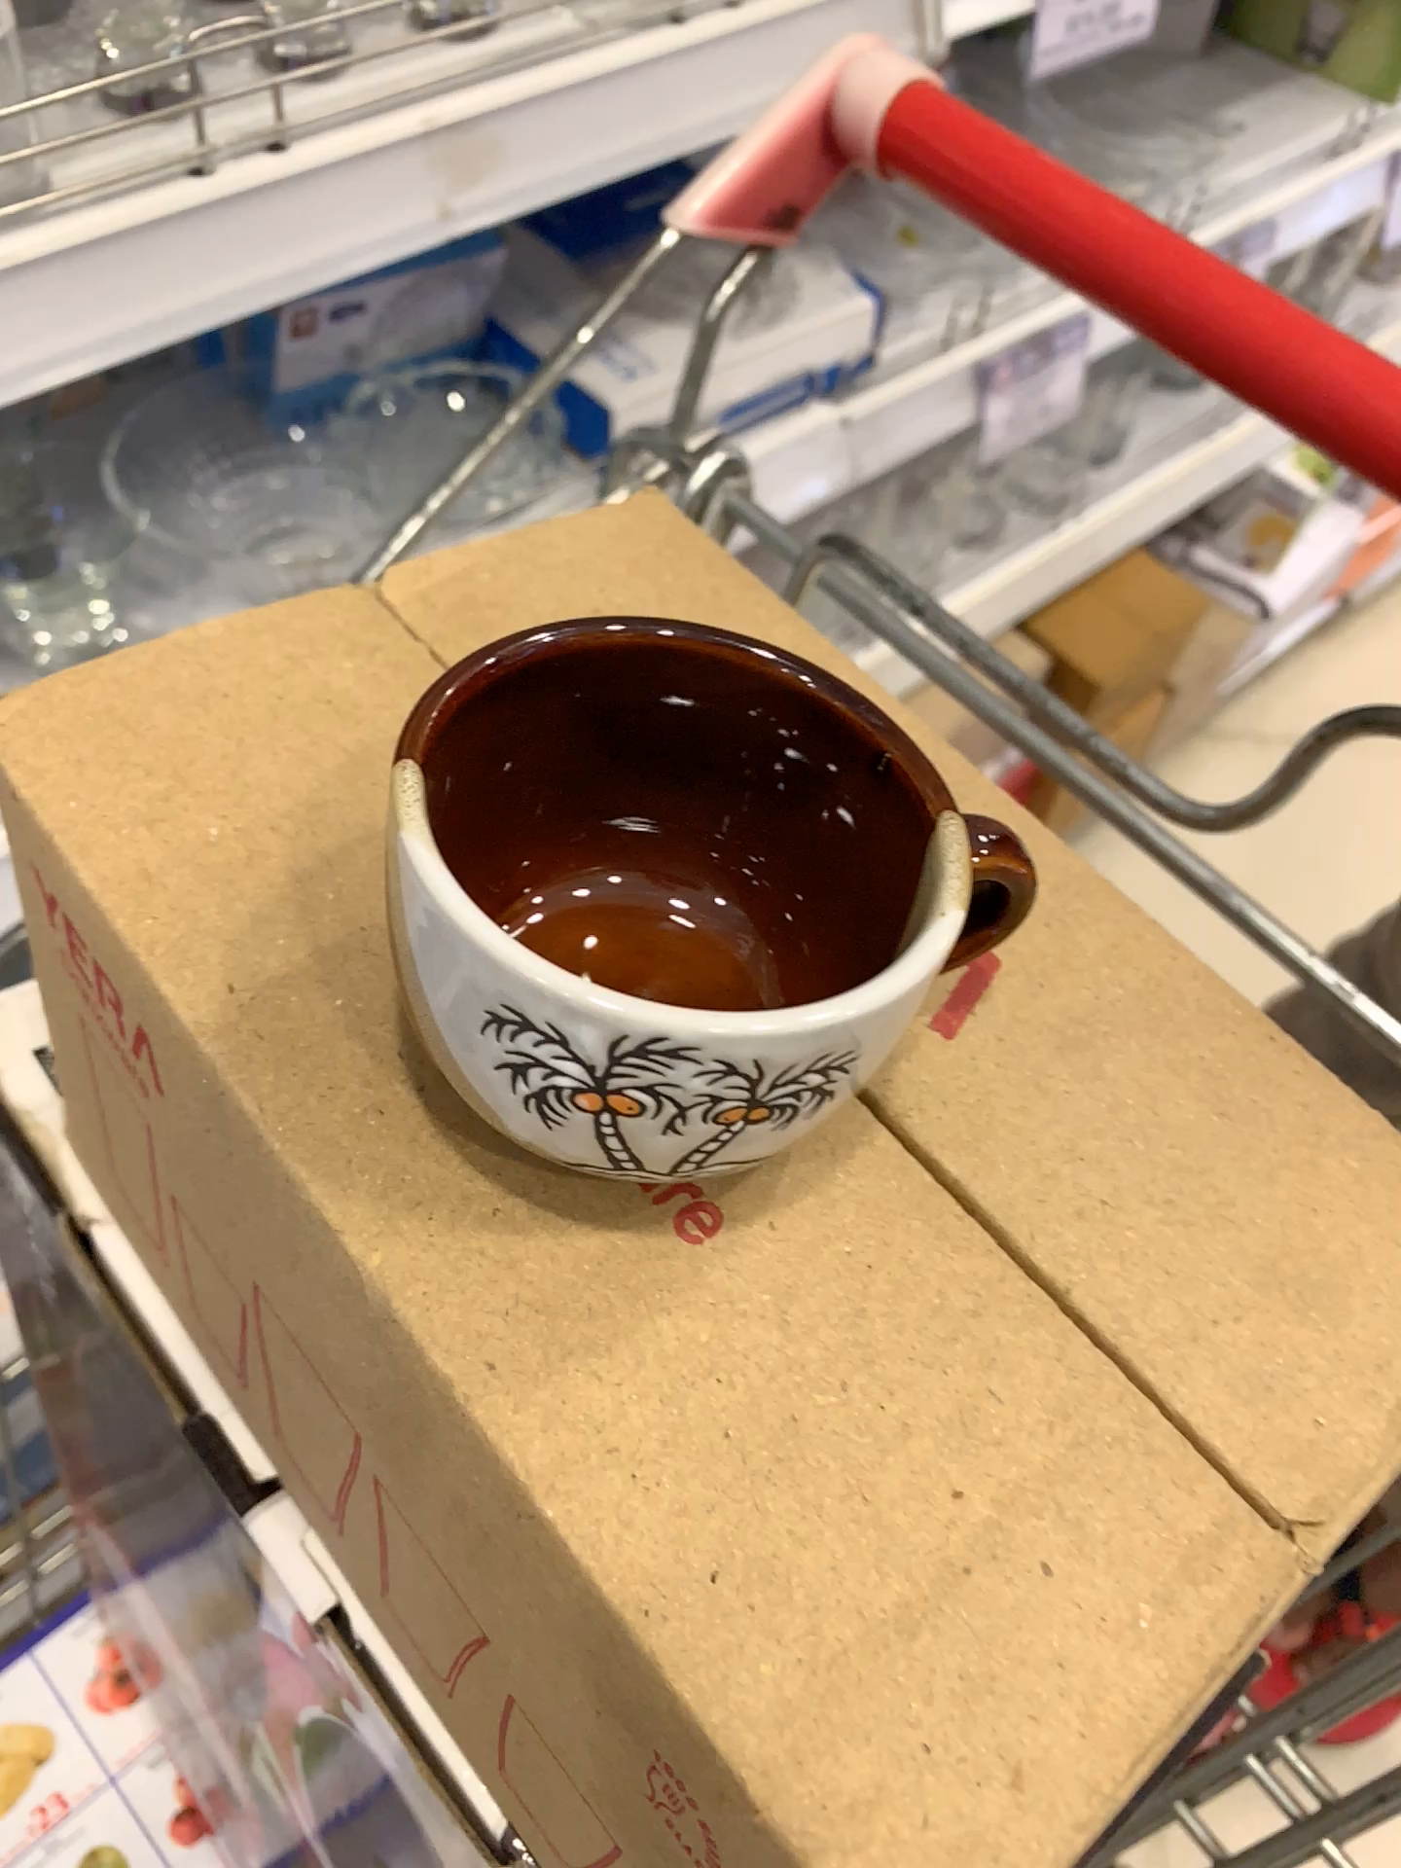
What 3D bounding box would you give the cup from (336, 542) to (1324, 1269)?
[{"bbox_3d":[0.009,-0.006,0.187,0.100,0.060,0.060,-6,55,-19],"label":"cup"}]
